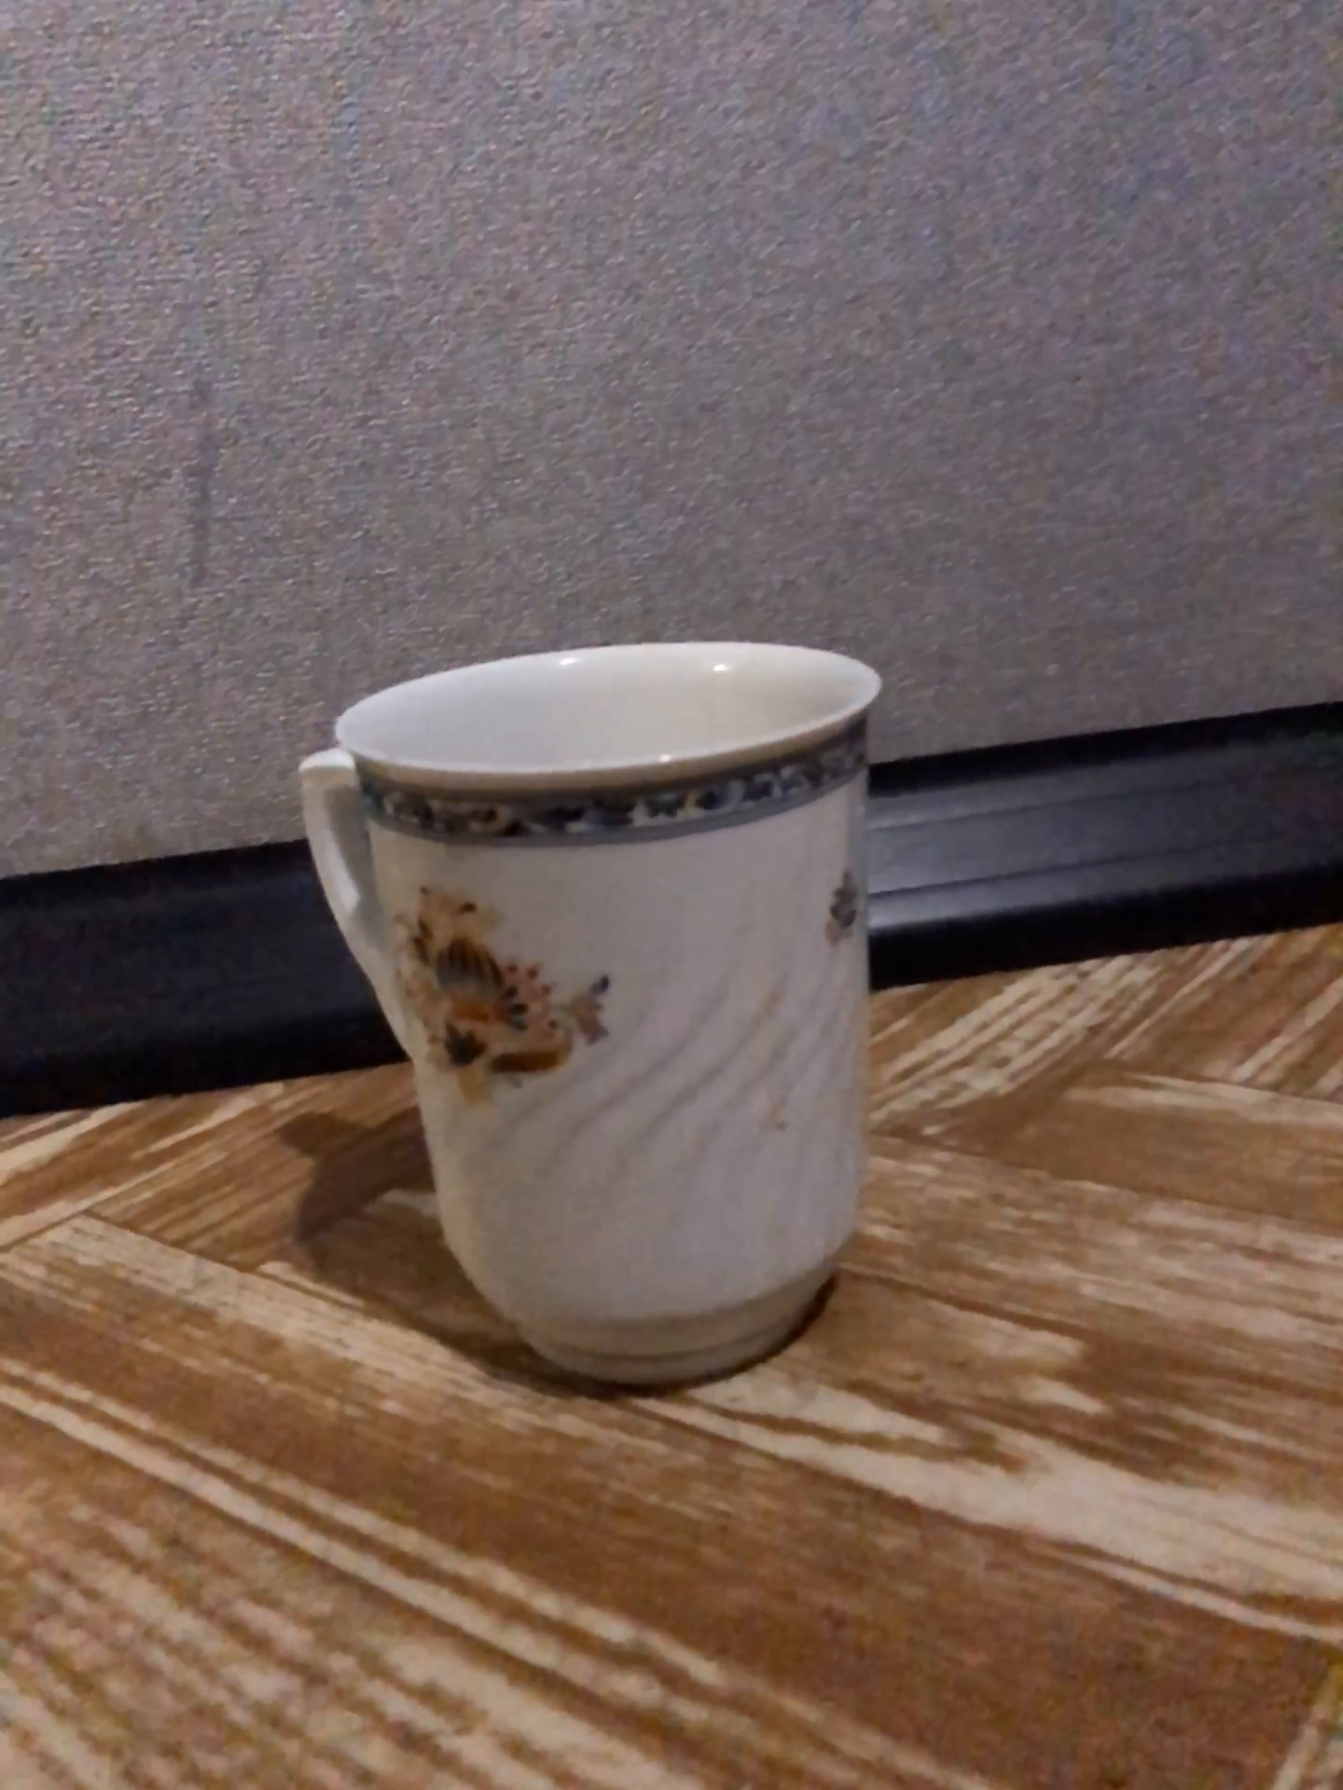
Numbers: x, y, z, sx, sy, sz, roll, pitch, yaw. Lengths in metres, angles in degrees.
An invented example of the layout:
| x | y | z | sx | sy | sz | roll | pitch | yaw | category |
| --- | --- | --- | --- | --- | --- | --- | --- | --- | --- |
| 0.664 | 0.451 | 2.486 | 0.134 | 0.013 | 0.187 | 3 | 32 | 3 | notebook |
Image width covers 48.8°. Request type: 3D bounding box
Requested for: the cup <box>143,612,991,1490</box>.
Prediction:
| x | y | z | sx | sy | sz | roll | pitch | yaw | category |
| --- | --- | --- | --- | --- | --- | --- | --- | --- | --- |
| -0.019 | 0.012 | 0.252 | 0.077 | 0.099 | 0.118 | -21 | 24 | -37 | cup |
